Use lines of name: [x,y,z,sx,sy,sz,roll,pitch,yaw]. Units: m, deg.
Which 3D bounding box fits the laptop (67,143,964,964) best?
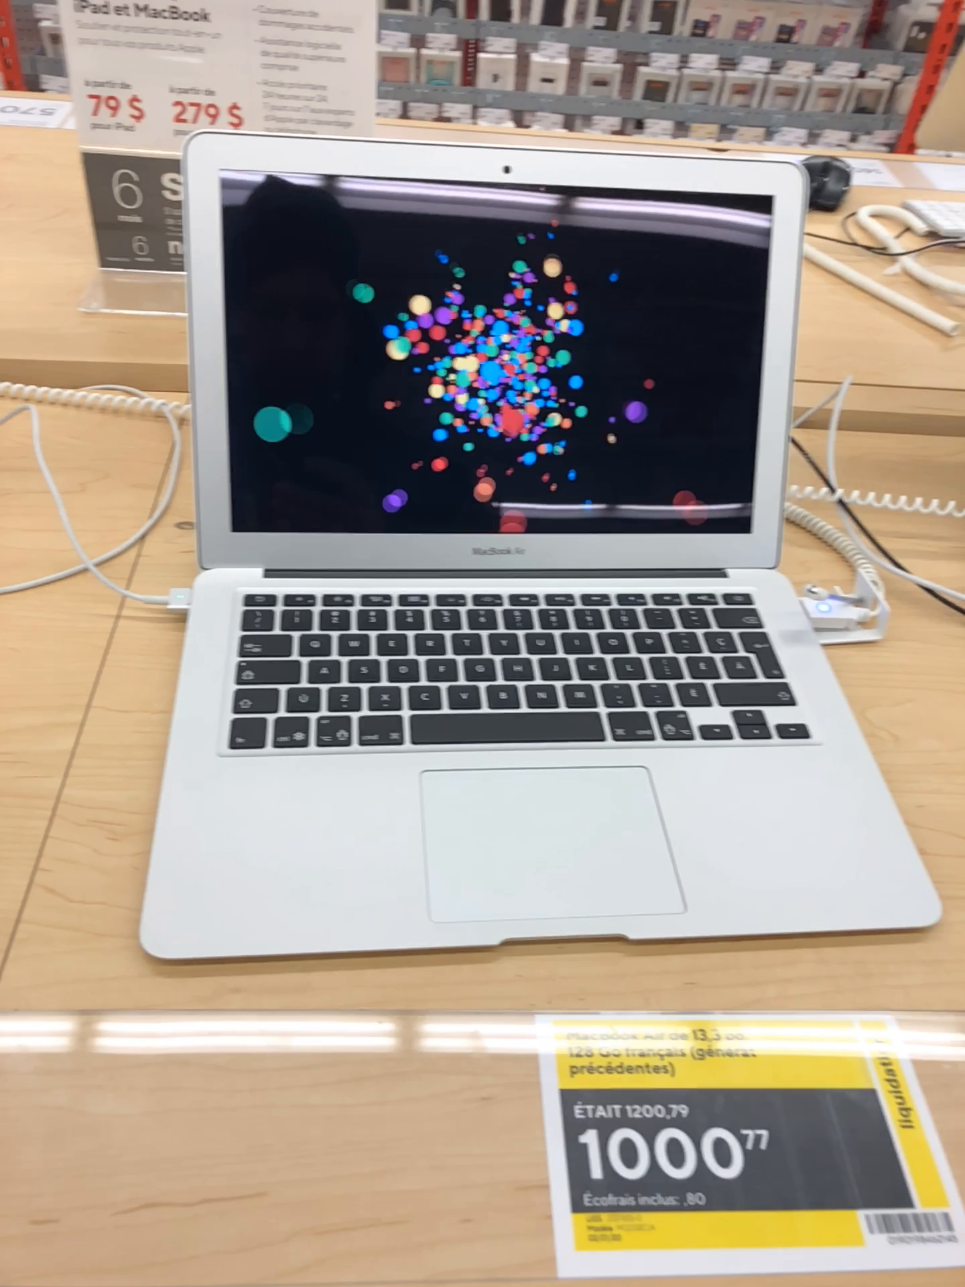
laptop: [0.025,-0.064,0.463,0.305,0.186,0.326,-1,41,-9]
